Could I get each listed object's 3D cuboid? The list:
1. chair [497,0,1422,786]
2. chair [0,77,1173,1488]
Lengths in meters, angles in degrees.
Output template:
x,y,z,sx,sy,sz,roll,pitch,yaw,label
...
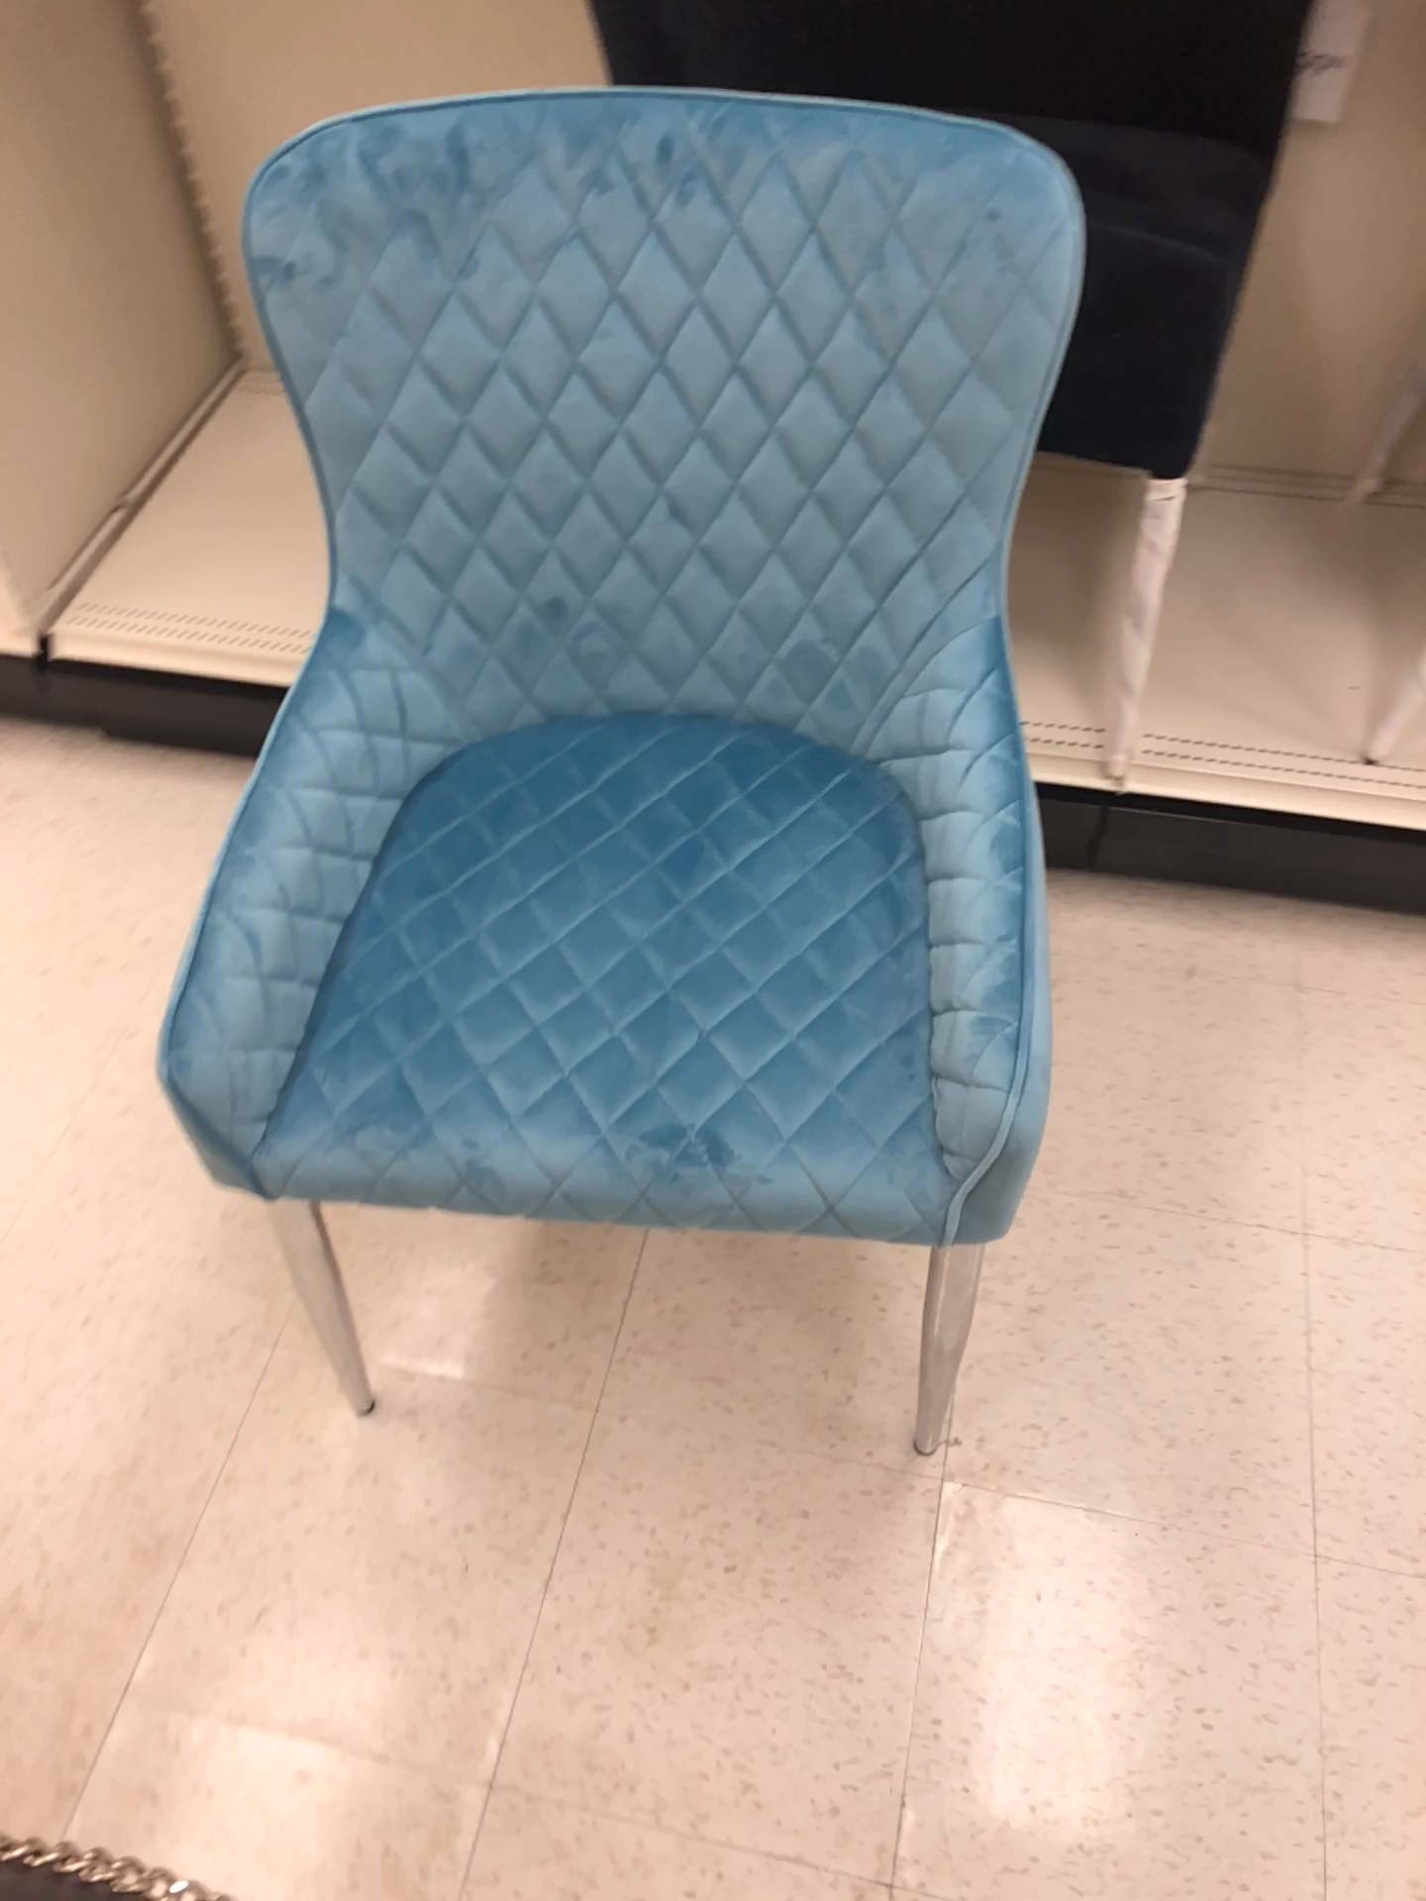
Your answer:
x,y,z,sx,sy,sz,roll,pitch,yaw,label
0.230,-0.682,1.477,0.580,0.778,0.561,13,51,14,chair
-0.040,-0.078,1.191,0.560,0.871,0.585,4,49,6,chair
